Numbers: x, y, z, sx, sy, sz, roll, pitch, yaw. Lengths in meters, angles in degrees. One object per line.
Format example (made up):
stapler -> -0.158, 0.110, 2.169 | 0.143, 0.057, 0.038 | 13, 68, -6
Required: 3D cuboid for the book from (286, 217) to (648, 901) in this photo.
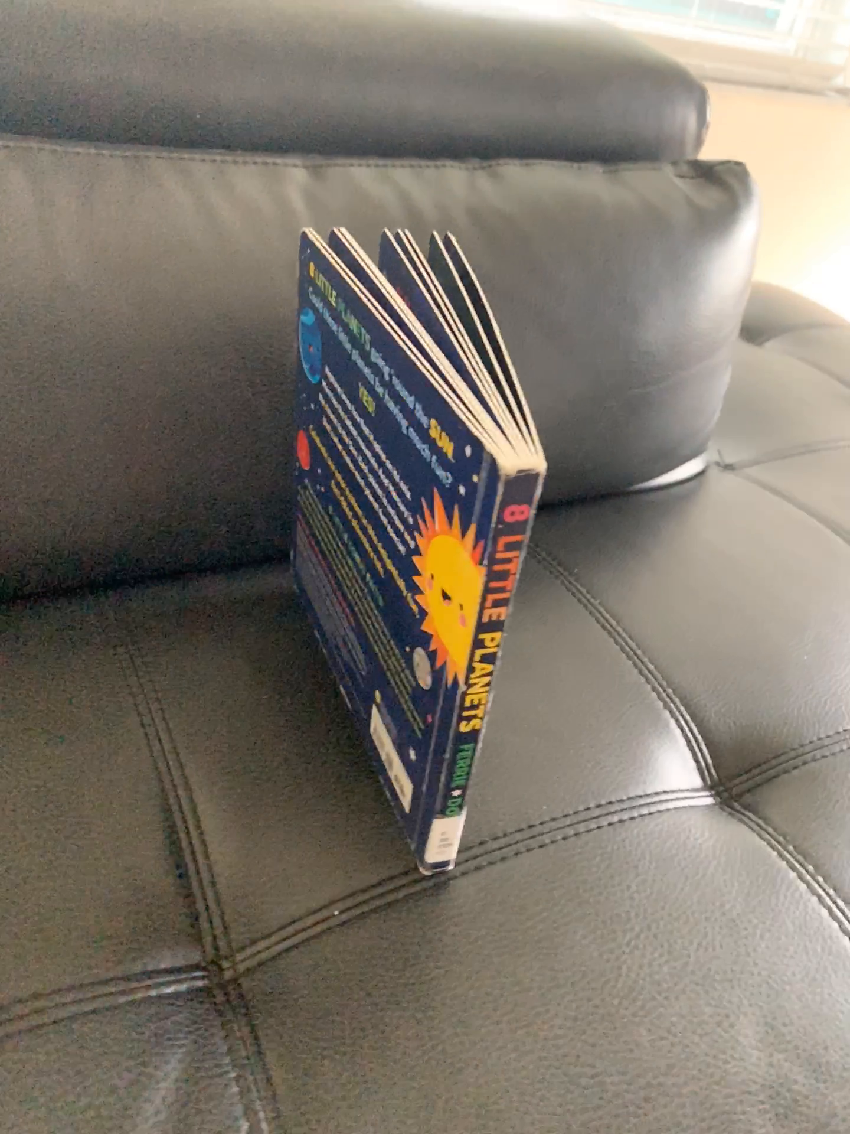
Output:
book -> -0.009, -0.012, 0.389 | 0.079, 0.211, 0.209 | -5, 39, -15
